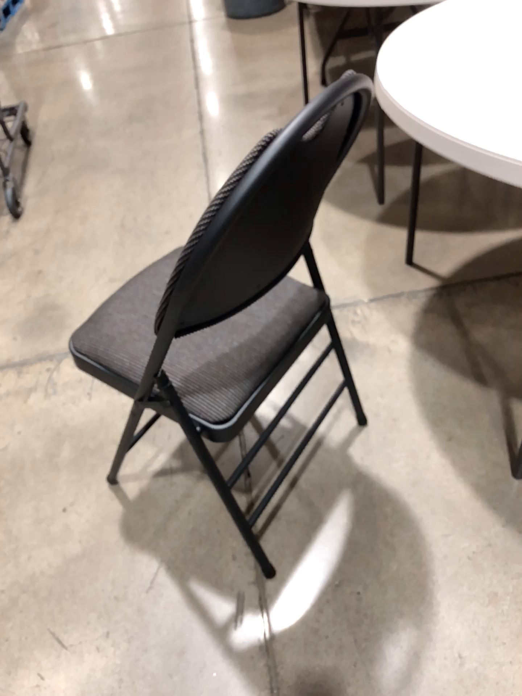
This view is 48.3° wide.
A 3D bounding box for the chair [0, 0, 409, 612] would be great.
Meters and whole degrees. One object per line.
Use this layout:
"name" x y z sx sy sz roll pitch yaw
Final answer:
"chair" -0.126 -0.072 1.058 0.561 0.857 0.511 23 52 30
